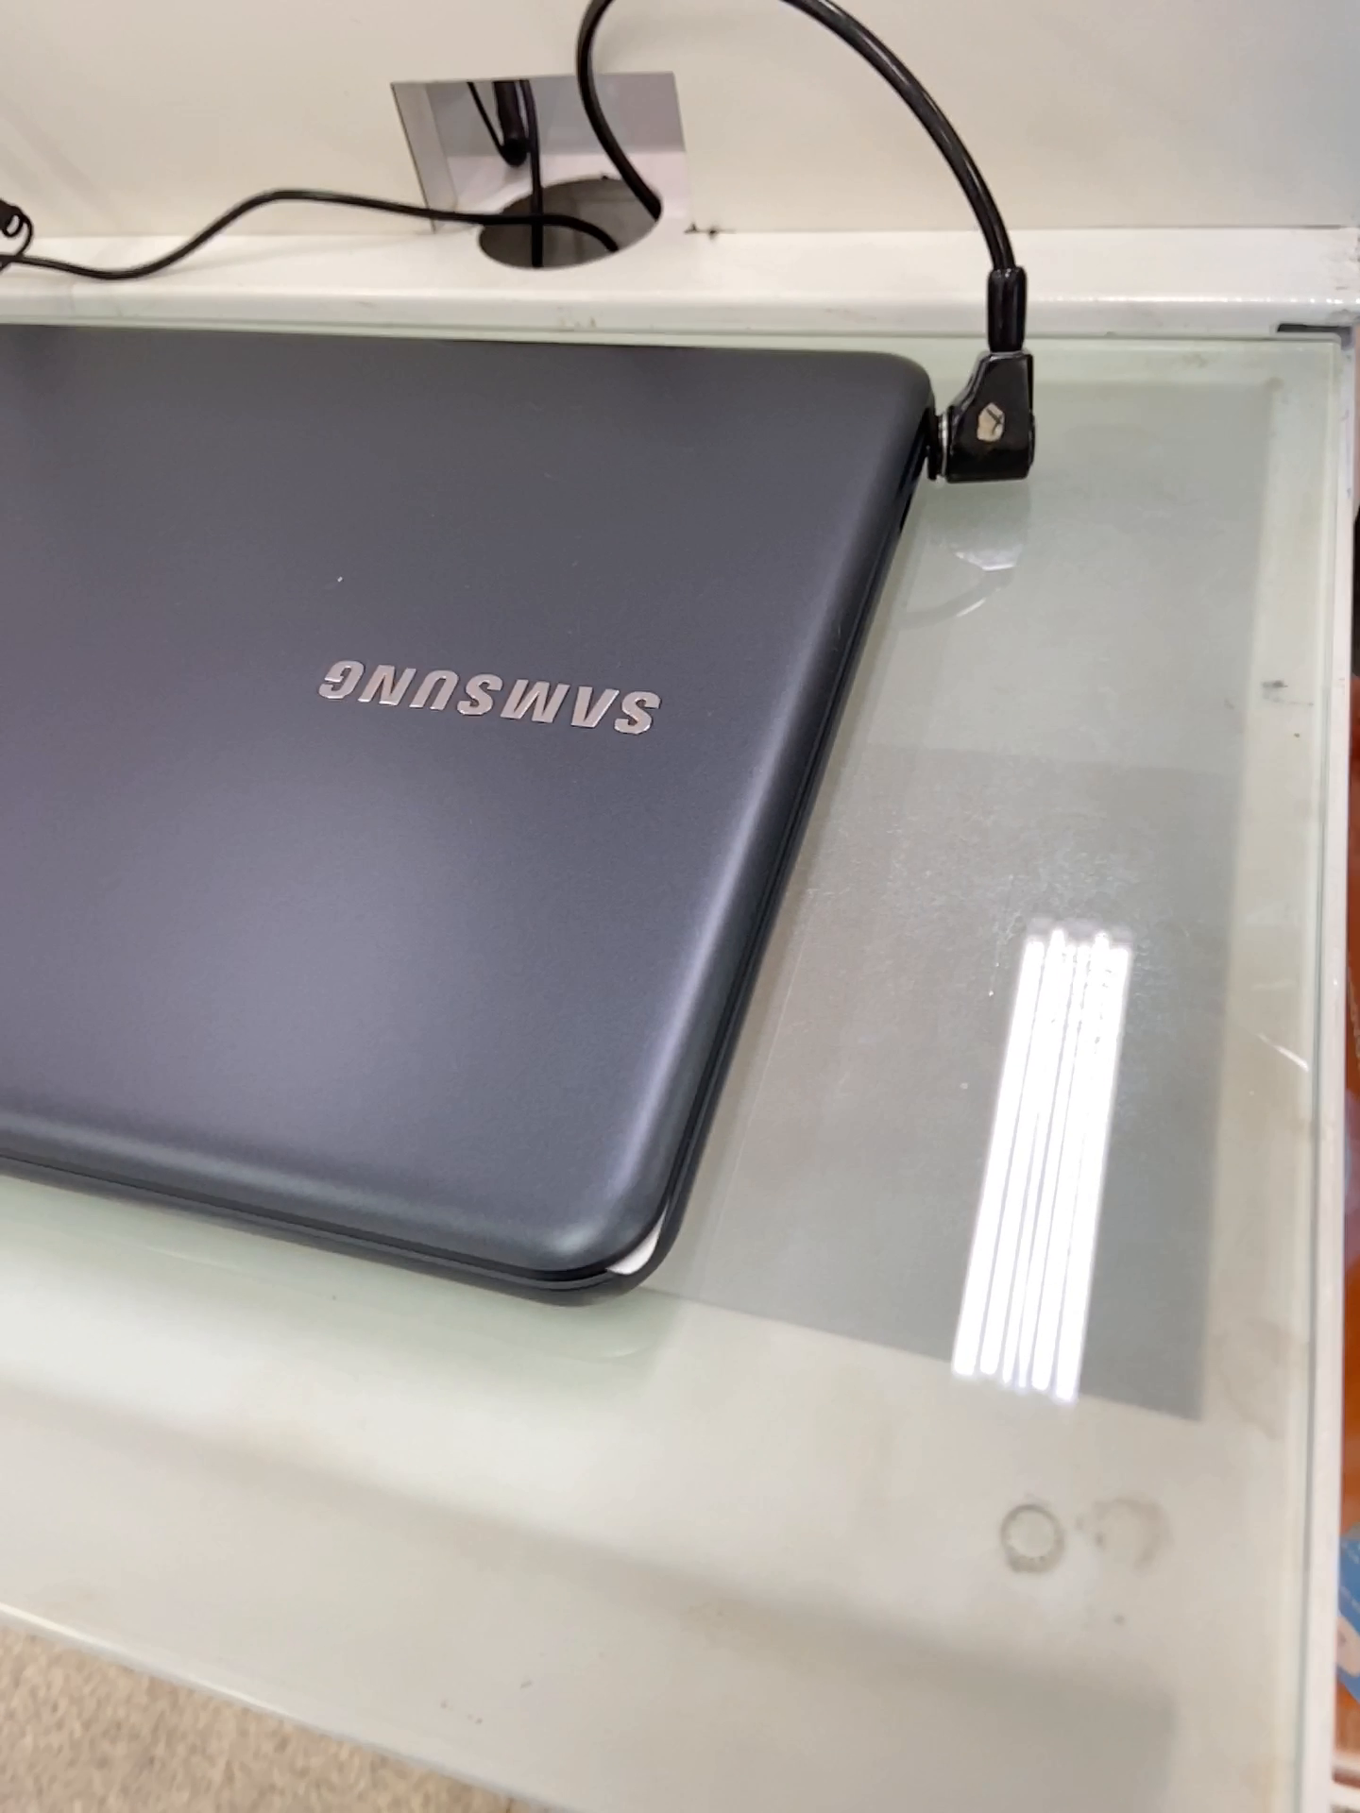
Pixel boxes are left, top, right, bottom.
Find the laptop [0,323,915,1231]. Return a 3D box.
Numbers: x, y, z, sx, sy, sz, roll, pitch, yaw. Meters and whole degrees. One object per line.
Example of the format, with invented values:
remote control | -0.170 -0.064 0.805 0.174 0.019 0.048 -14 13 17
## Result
laptop | -0.143 -0.067 0.325 0.351 0.001 0.233 8 55 17
